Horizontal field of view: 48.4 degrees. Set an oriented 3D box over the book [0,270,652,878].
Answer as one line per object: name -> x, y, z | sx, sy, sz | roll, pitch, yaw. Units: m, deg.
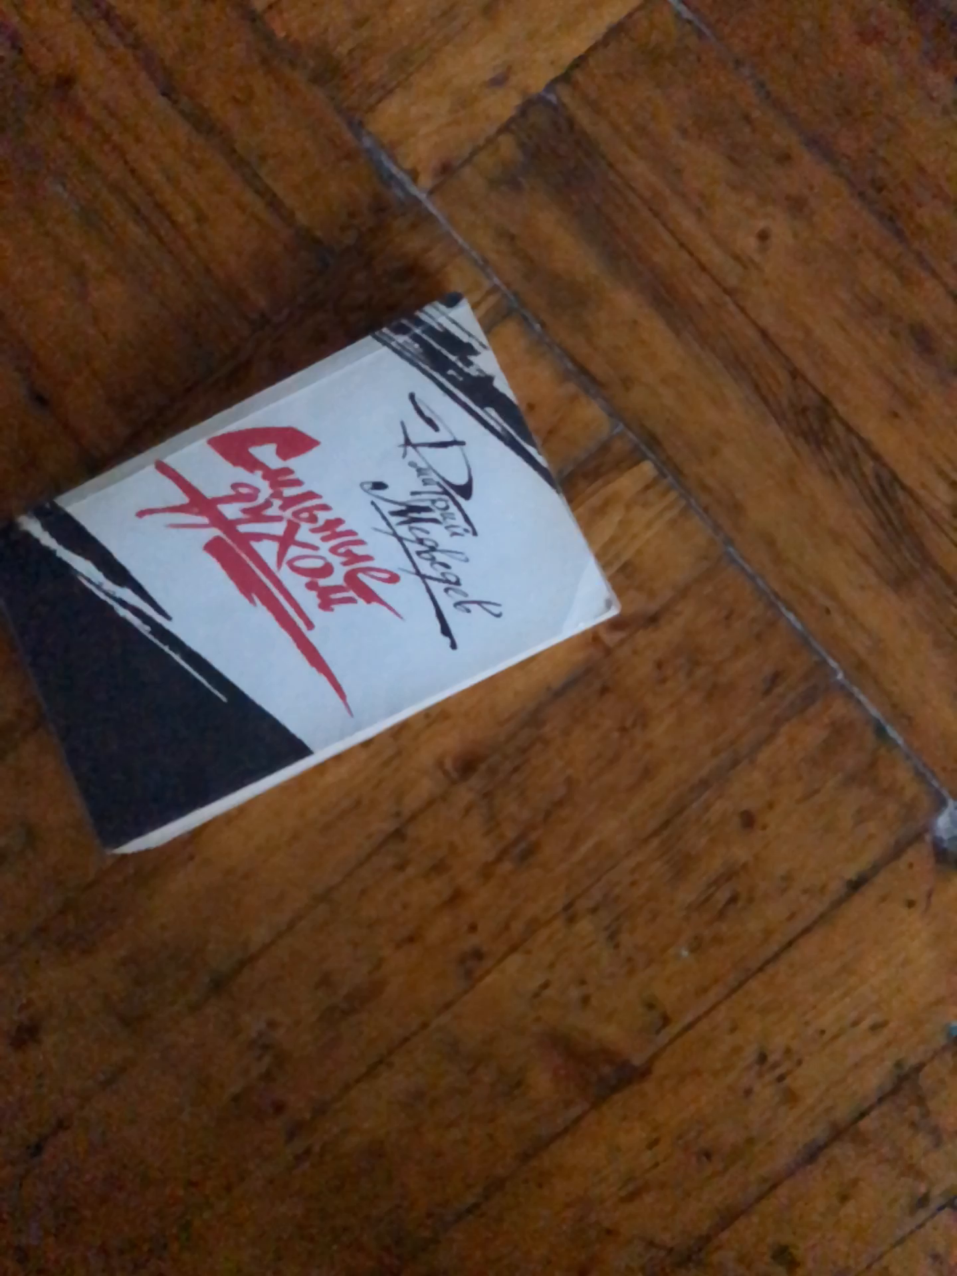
book -> -0.062, -0.023, 0.416 | 0.210, 0.050, 0.140 | -29, 85, 2
